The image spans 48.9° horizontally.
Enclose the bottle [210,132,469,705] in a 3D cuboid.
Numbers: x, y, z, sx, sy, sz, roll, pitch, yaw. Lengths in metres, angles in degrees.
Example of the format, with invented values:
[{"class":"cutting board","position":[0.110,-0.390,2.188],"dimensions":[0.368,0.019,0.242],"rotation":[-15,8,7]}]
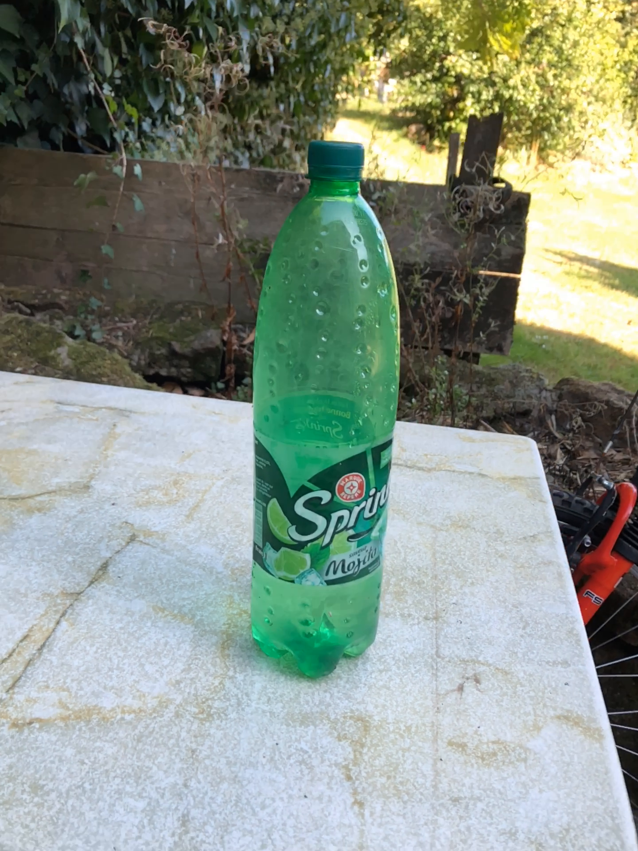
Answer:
[{"class":"bottle","position":[-0.001,0.000,0.413],"dimensions":[0.090,0.308,0.090],"rotation":[4,24,-2]}]
